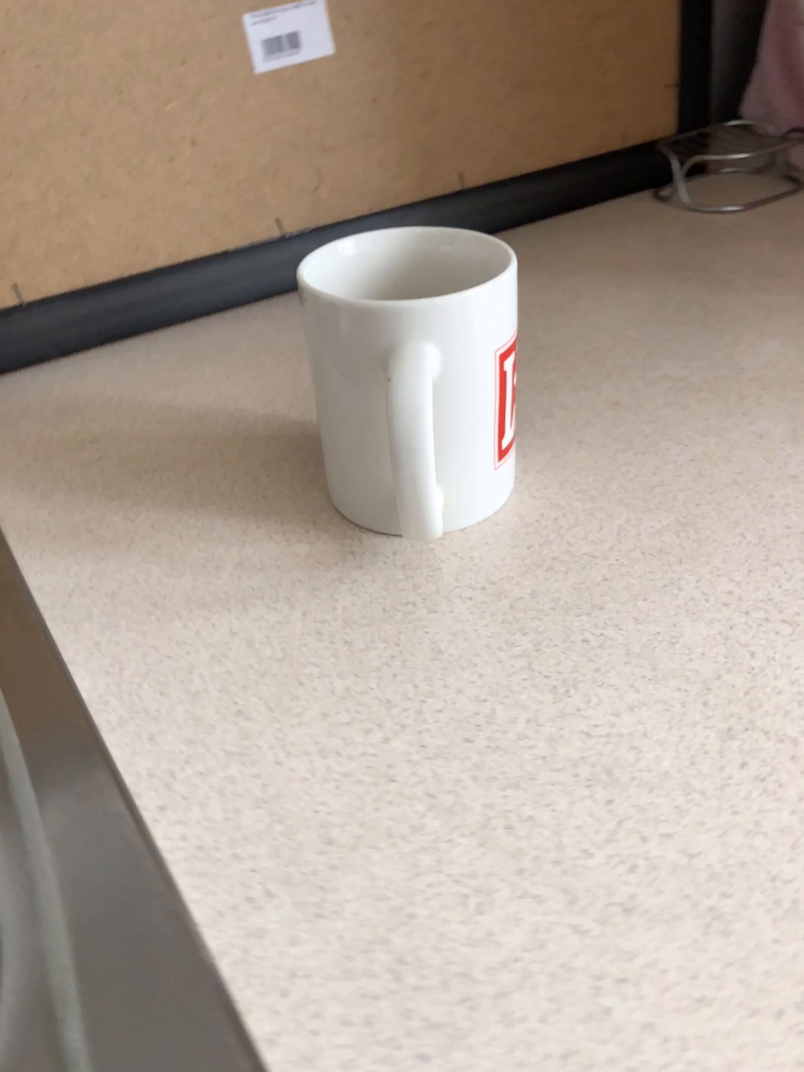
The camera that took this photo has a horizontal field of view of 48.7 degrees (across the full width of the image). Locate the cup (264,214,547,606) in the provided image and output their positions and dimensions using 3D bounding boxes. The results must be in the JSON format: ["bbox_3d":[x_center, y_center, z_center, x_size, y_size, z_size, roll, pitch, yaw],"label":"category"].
[{"bbox_3d":[0.004,-0.052,0.340,0.084,0.099,0.121,-3,36,3],"label":"cup"}]
